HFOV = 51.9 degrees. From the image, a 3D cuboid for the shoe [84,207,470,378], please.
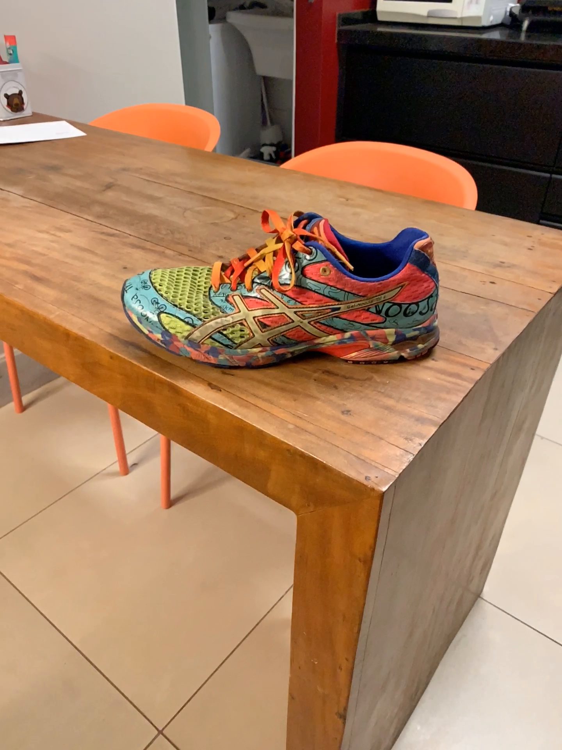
[{"bbox_3d":[-0.004,-0.079,0.542,0.310,0.118,0.111,-1,35,-1],"label":"shoe"}]
